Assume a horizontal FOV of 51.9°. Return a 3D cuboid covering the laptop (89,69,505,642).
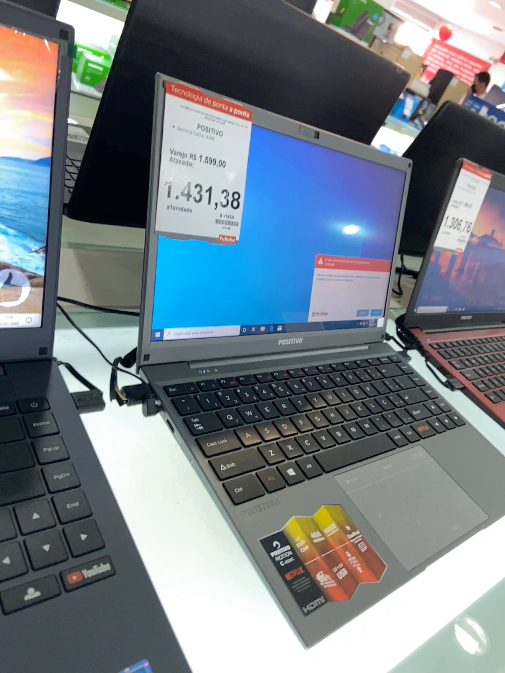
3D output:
[{"bbox_3d":[0.101,-0.017,0.431,0.331,0.183,0.319,-2,42,-43],"label":"laptop"}]
